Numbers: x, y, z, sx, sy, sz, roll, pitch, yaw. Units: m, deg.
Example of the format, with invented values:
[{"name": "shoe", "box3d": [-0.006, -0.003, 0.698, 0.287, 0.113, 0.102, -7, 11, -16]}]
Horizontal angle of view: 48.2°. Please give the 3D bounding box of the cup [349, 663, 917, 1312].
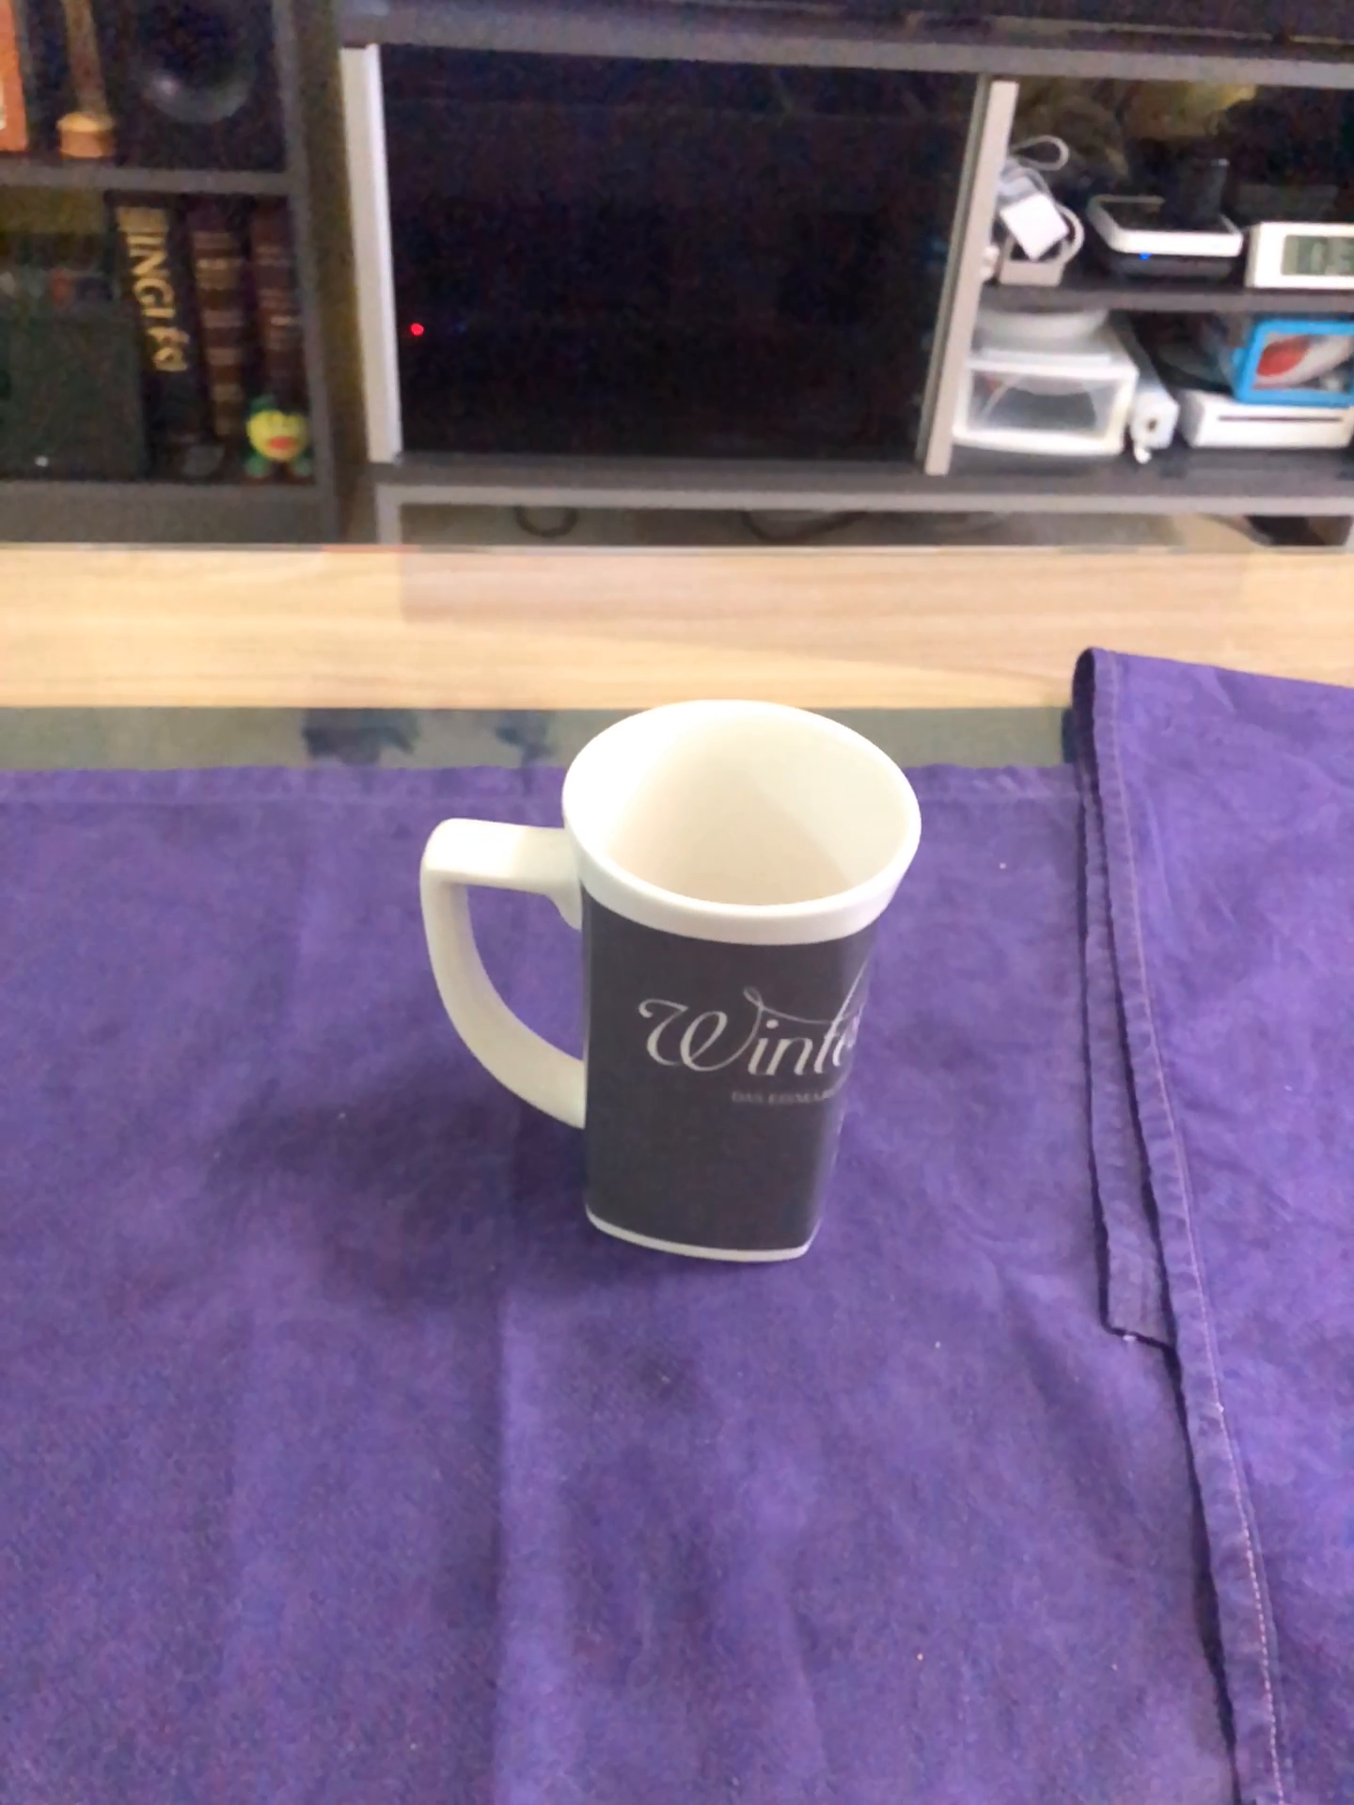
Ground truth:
[{"name": "cup", "box3d": [-0.007, 0.019, 0.326, 0.100, 0.109, 0.070, 7, 40, 4]}]
